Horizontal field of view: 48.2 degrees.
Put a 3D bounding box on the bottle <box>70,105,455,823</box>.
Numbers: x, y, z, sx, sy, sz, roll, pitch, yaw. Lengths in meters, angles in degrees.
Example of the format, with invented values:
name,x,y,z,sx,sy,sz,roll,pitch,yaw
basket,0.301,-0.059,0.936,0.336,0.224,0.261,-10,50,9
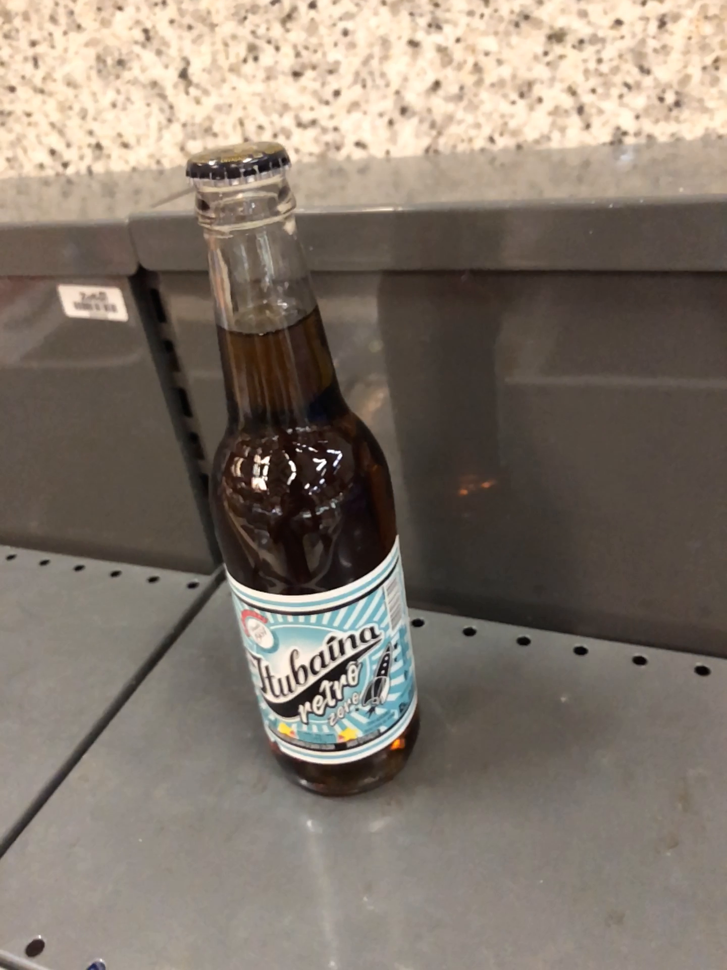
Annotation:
name,x,y,z,sx,sy,sz,roll,pitch,yaw
bottle,-0.015,0.012,0.268,0.070,0.238,0.050,0,33,13
